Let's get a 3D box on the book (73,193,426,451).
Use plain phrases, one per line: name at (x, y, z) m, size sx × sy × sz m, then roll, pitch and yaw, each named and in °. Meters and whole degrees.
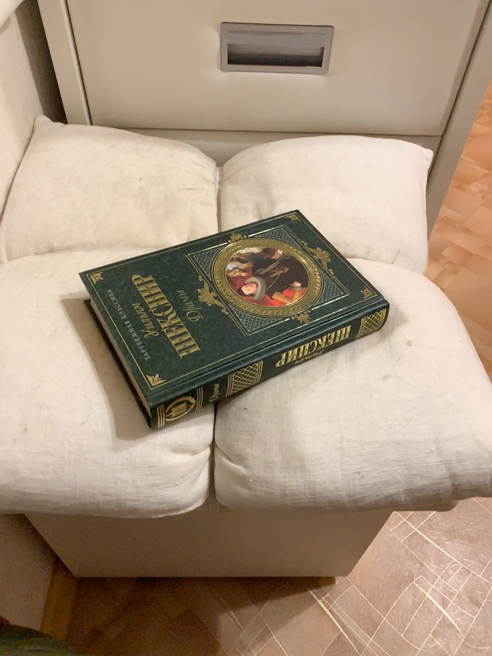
book at (0.003, -0.022, 0.393) m, size 0.221 × 0.040 × 0.151 m, roll -21°, pitch 55°, yaw -24°
